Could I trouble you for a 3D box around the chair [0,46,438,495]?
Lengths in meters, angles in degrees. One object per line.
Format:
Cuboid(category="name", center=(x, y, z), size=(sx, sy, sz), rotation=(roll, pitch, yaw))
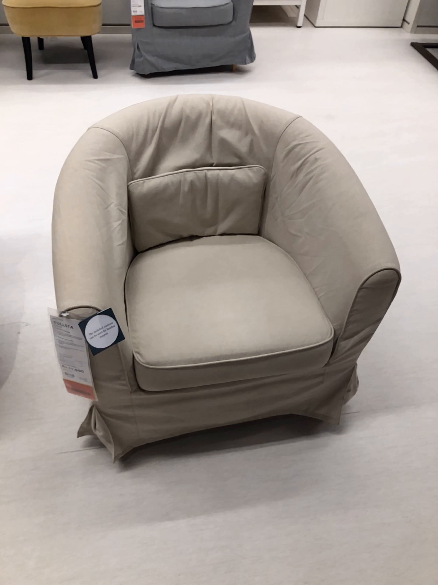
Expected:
Cuboid(category="chair", center=(0.013, -0.071, 1.252), size=(0.860, 0.805, 0.704), rotation=(-8, 48, -12))
